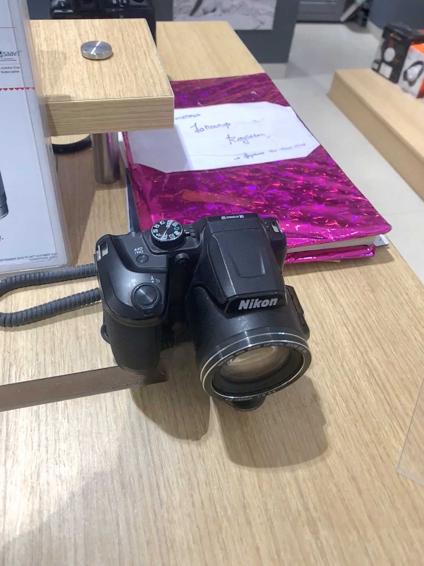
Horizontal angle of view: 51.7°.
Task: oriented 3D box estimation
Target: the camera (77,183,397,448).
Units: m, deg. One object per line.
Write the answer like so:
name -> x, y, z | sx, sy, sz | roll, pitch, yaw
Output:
camera -> 0.002, 0.015, 0.236 | 0.130, 0.090, 0.090 | -7, 49, -12
